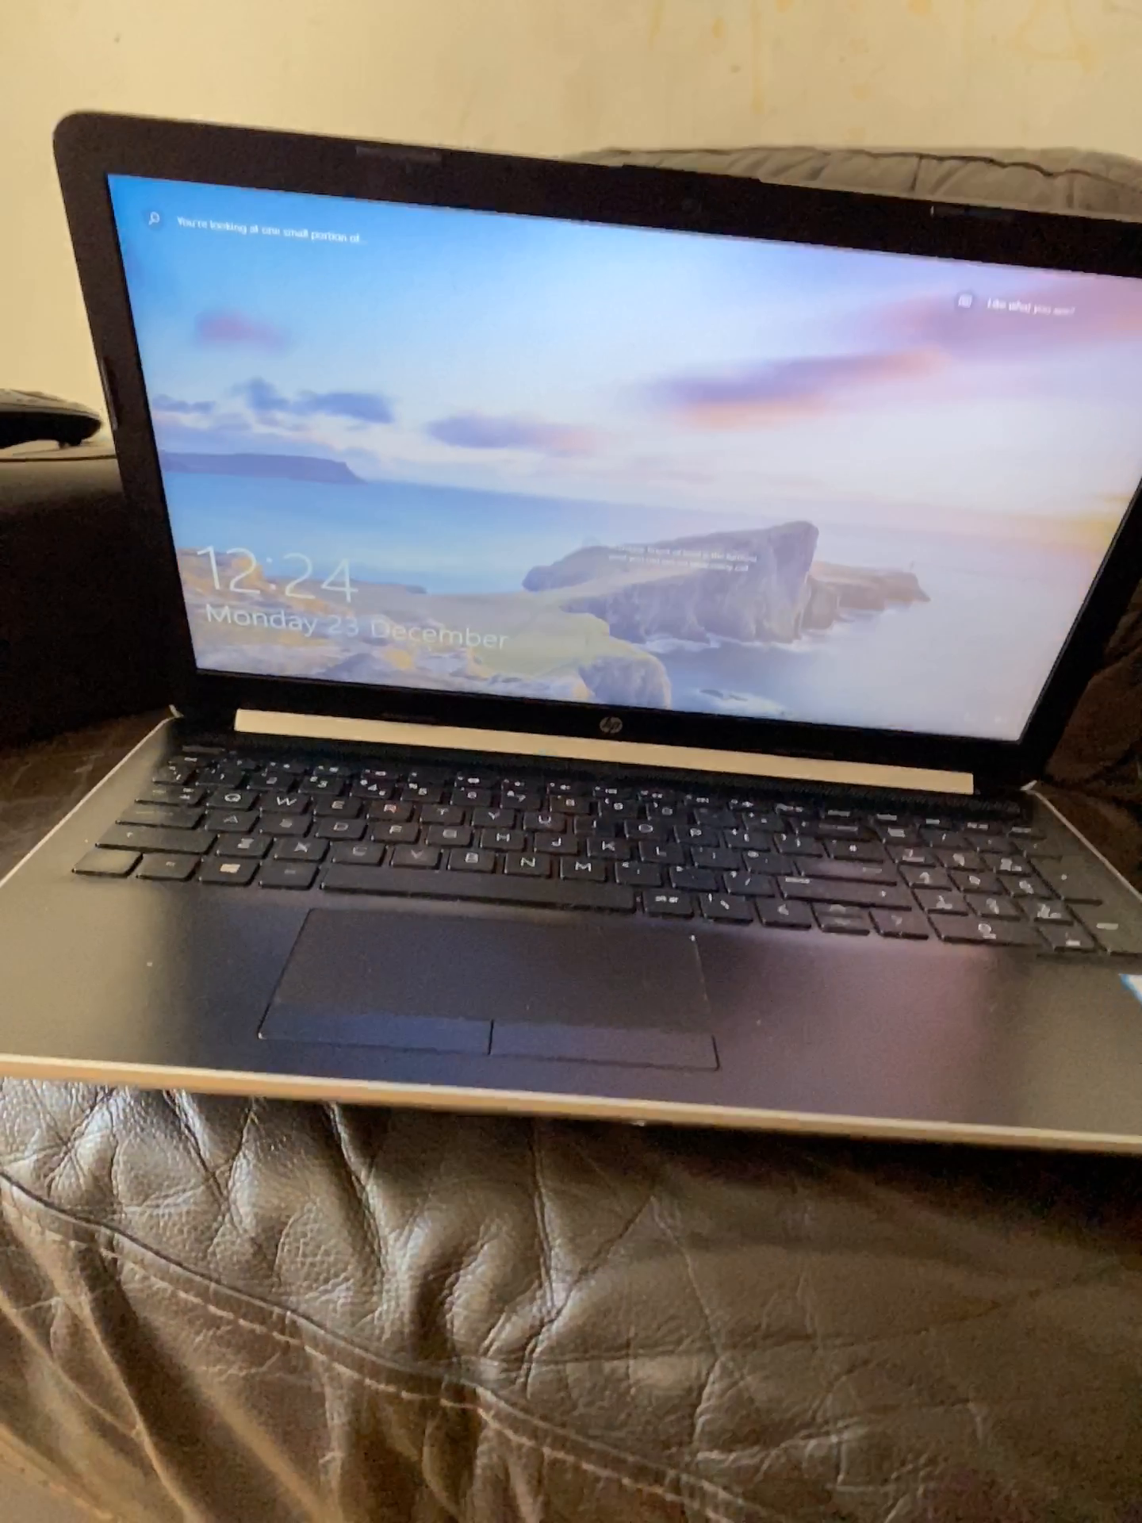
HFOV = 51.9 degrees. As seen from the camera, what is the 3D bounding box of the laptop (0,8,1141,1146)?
[{"bbox_3d":[0.017,-0.062,0.362,0.371,0.212,0.238,4,19,-1],"label":"laptop"}]
